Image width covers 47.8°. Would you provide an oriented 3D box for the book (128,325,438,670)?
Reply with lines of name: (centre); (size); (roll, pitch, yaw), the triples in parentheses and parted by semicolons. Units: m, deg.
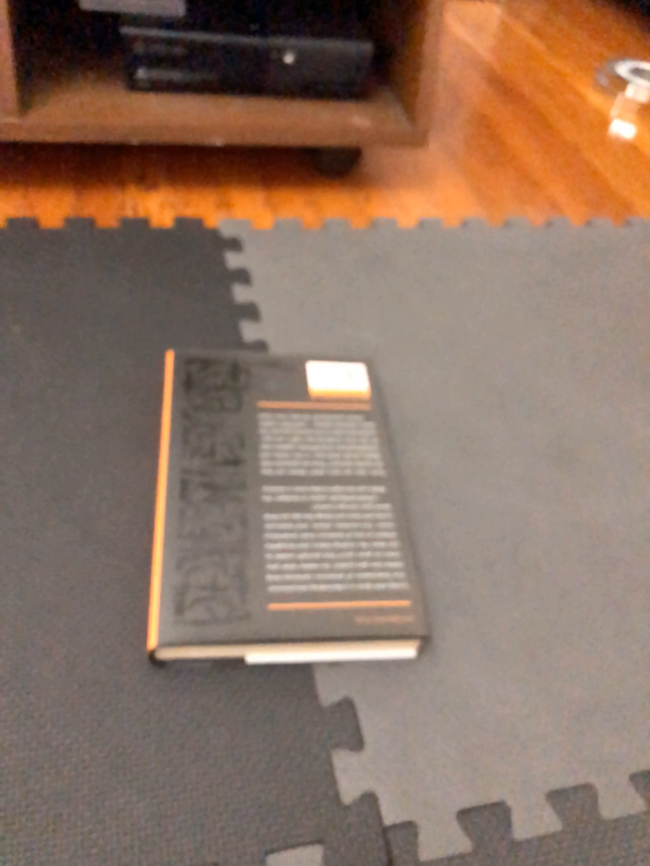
book: (-0.035, 0.027, 0.504); (0.170, 0.040, 0.261); (1, 47, -9)
